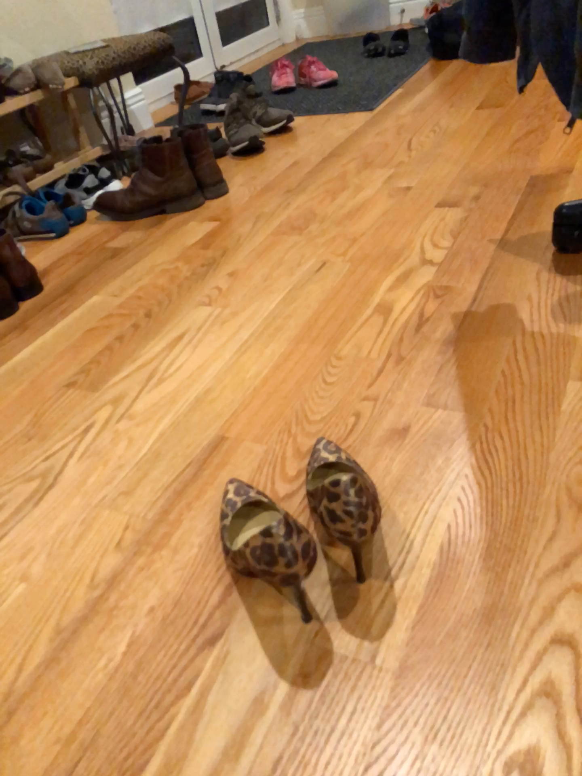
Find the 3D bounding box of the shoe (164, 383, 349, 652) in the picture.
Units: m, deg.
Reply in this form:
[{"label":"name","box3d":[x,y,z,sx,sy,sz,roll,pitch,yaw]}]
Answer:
[{"label":"shoe","box3d":[-0.040,0.119,0.637,0.084,0.144,0.219,-23,36,-14]}]

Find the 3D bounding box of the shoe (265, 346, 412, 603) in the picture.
[{"label":"shoe","box3d":[0.044,0.080,0.663,0.083,0.144,0.220,-15,35,-3]}]
